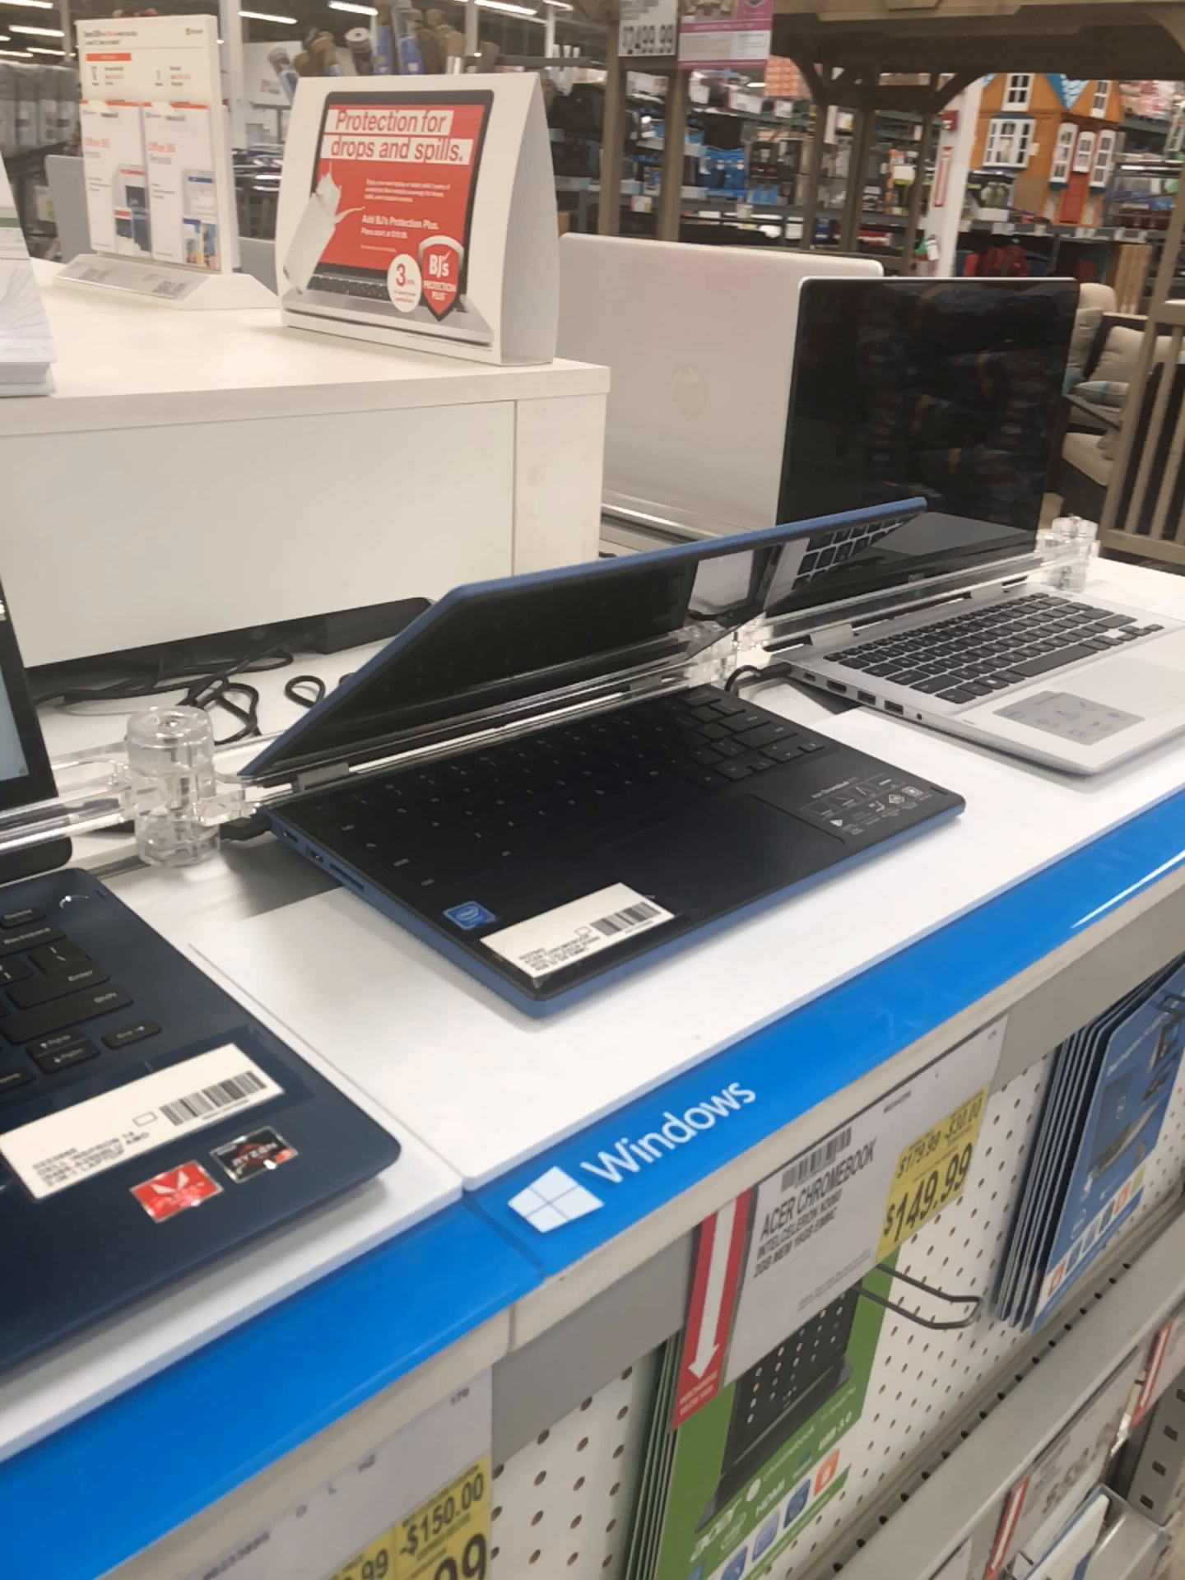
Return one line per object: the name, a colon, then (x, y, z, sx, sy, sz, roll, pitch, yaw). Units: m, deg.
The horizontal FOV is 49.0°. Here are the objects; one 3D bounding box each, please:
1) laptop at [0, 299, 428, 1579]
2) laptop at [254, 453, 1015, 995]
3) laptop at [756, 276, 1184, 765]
laptop: (-0.273, 0.000, 0.328, 0.325, 0.196, 0.319, -19, 34, -42)
laptop: (0.025, -0.055, 0.580, 0.186, 0.128, 0.280, 27, 32, 38)
laptop: (0.293, -0.189, 0.810, 0.296, 0.211, 0.221, -18, 34, -39)
